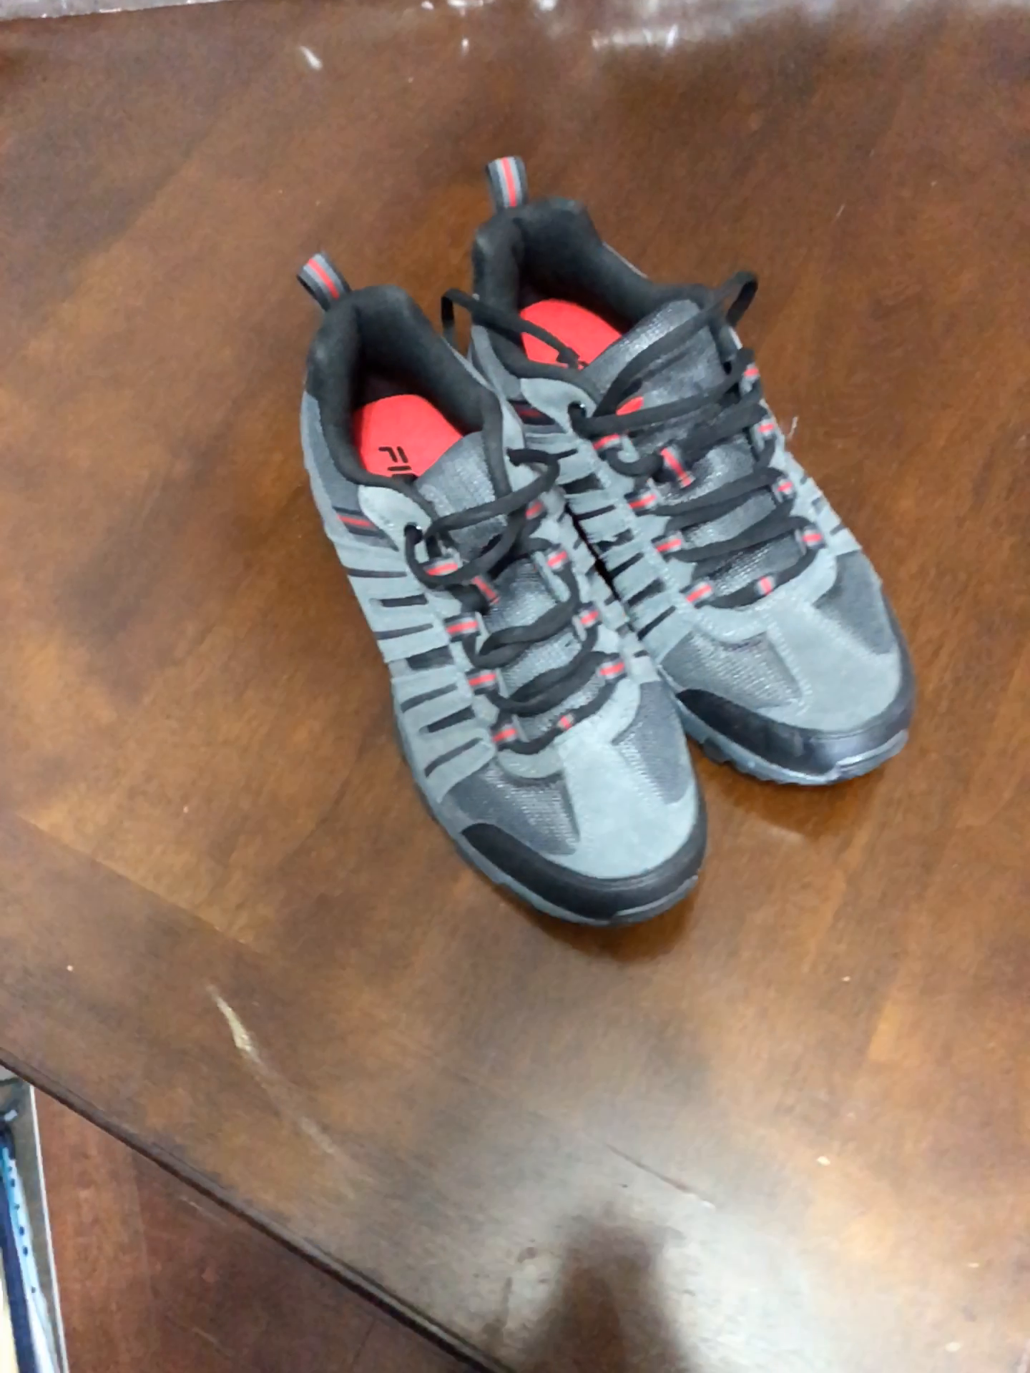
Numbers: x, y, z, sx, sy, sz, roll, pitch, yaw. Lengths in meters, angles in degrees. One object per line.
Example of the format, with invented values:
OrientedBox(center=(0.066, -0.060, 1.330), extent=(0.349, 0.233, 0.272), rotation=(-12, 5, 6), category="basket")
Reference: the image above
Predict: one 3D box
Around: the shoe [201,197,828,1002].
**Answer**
OrientedBox(center=(-0.012, -0.045, 0.466), extent=(0.120, 0.100, 0.300), rotation=(-24, 64, -6), category="shoe")

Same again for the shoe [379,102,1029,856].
OrientedBox(center=(0.073, -0.097, 0.482), extent=(0.120, 0.100, 0.300), rotation=(-30, 65, -8), category="shoe")
